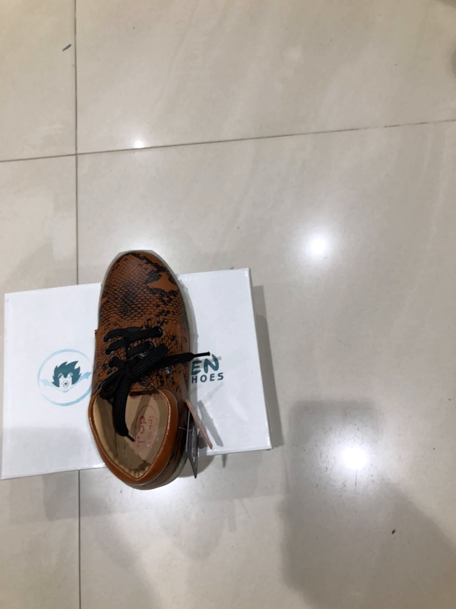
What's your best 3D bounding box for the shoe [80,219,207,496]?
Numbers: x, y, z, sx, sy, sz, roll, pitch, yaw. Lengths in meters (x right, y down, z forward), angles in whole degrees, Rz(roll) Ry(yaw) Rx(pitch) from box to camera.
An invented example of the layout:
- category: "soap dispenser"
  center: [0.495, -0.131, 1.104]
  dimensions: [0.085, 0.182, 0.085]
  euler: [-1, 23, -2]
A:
- category: "shoe"
  center: [-0.068, 0.044, 0.418]
  dimensions: [0.080, 0.090, 0.200]
  euler: [-6, 74, 0]
